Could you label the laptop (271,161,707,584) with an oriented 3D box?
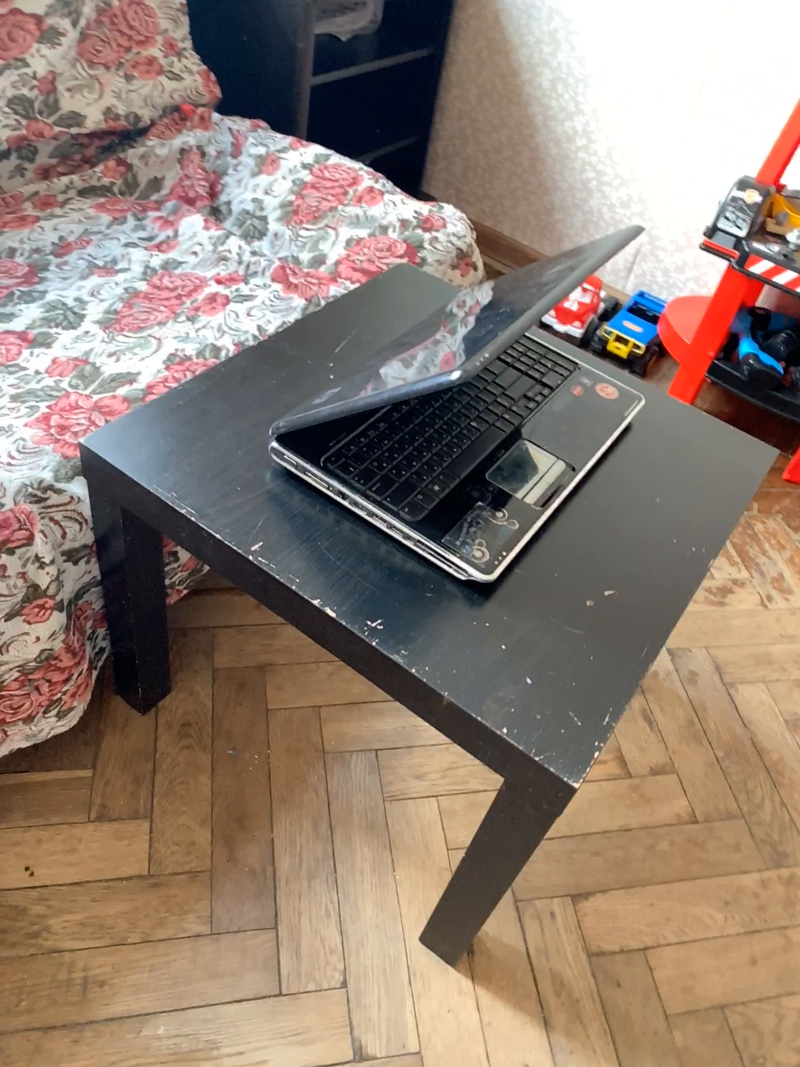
[{"bbox_3d":[0.093,-0.181,0.799,0.251,0.176,0.367,32,48,16],"label":"laptop"}]
